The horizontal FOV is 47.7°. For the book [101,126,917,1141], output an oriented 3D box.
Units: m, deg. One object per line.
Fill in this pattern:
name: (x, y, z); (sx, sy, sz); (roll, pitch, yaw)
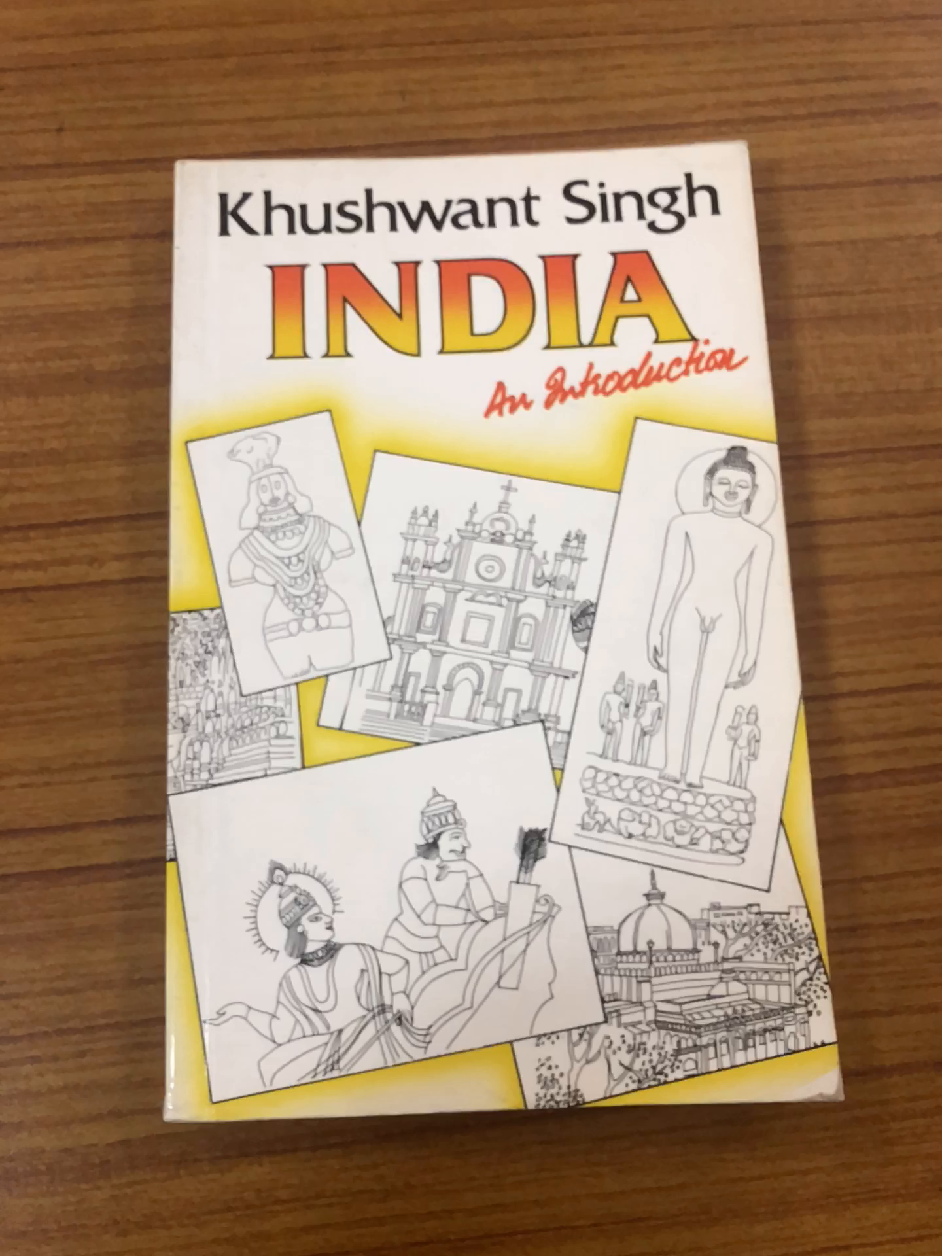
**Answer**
book: (0.003, -0.007, 0.211); (0.140, 0.020, 0.190); (-2, 79, -2)
